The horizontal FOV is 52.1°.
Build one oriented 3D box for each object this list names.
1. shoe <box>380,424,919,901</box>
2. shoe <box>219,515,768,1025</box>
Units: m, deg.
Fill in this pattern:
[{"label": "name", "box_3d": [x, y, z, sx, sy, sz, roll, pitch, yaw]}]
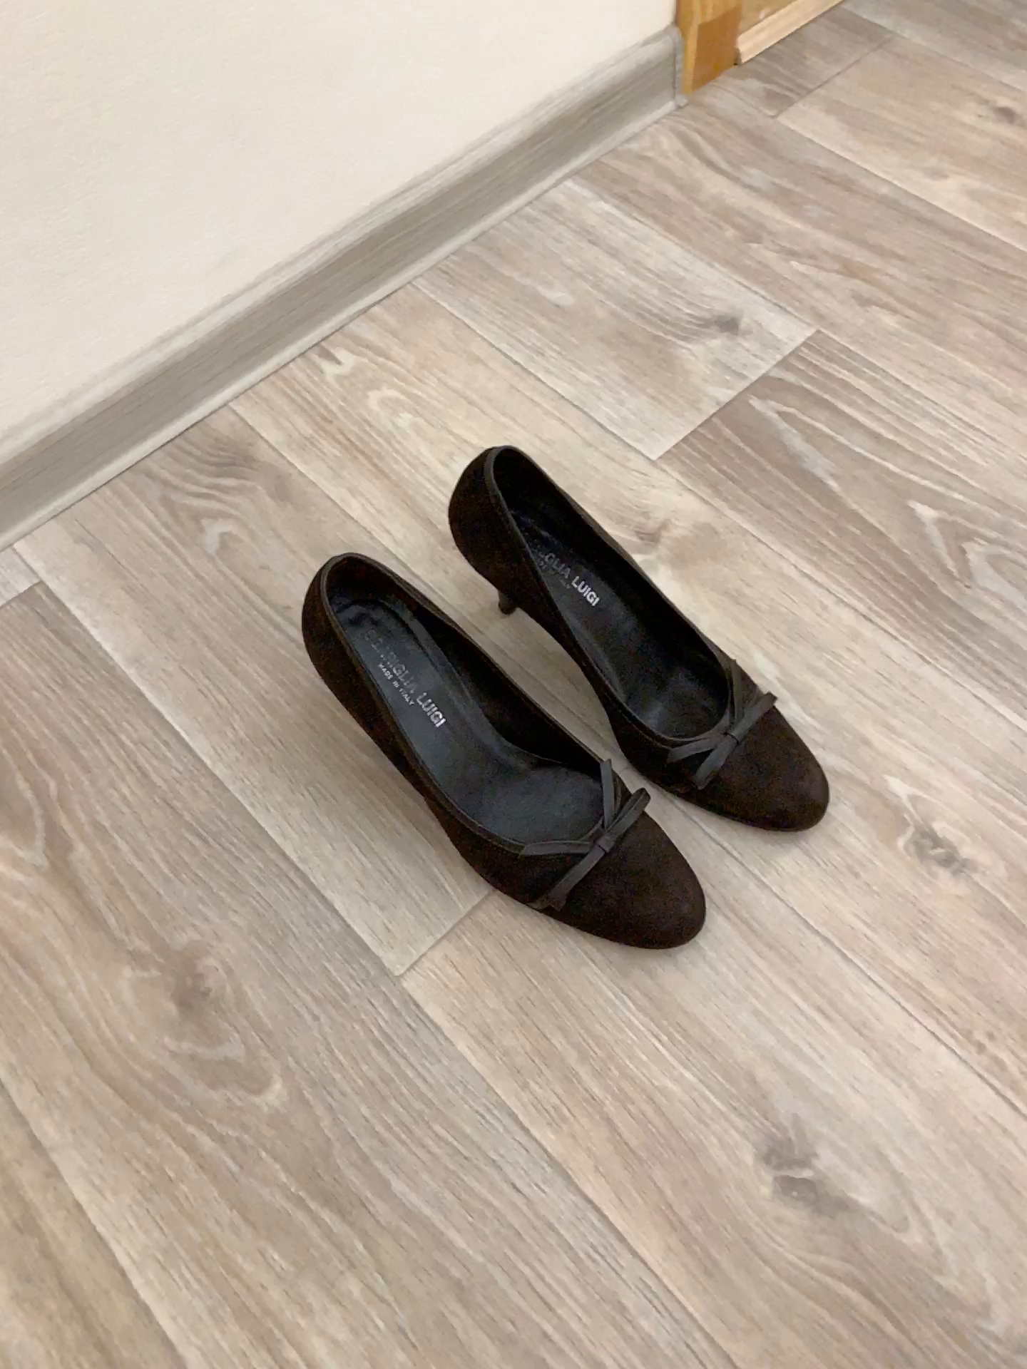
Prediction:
[{"label": "shoe", "box_3d": [0.059, -0.014, 0.551, 0.260, 0.110, 0.080, 36, 67, 20]}, {"label": "shoe", "box_3d": [-0.015, 0.040, 0.523, 0.260, 0.110, 0.080, 36, 68, 20]}]
